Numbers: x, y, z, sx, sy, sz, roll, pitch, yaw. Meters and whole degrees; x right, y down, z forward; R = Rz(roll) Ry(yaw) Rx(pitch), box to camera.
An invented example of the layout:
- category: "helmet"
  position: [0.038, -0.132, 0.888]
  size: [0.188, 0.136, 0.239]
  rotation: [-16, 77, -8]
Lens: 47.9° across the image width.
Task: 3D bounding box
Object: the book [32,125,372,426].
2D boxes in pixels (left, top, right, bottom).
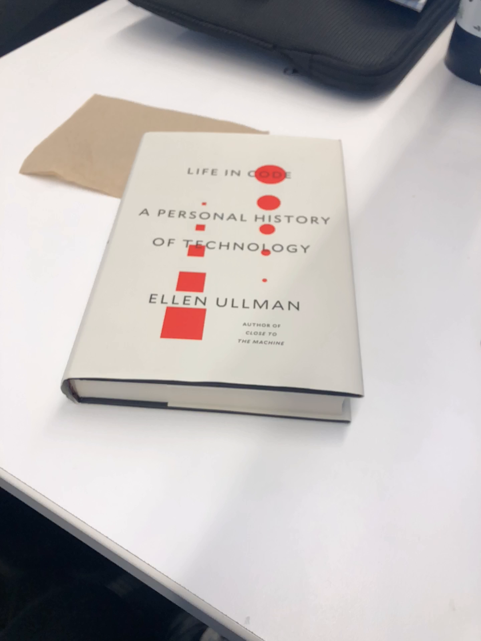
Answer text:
- category: "book"
  position: [-0.011, -0.046, 0.336]
  size: [0.160, 0.030, 0.221]
  rotation: [4, 50, 3]
